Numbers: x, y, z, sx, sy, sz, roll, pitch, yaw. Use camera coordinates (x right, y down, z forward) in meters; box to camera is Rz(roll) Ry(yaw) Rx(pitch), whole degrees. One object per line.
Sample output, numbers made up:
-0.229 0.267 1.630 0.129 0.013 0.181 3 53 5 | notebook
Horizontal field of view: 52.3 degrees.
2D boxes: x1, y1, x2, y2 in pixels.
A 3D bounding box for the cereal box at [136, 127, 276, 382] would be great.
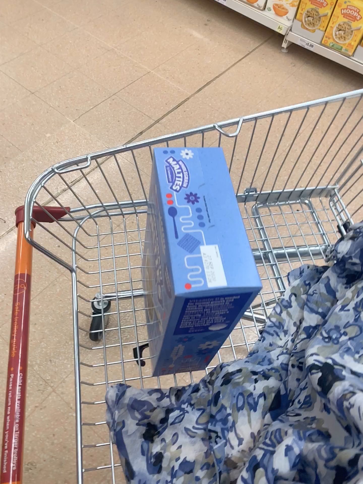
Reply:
0.001 0.035 0.496 0.090 0.288 0.222 -4 59 -12 | cereal box
